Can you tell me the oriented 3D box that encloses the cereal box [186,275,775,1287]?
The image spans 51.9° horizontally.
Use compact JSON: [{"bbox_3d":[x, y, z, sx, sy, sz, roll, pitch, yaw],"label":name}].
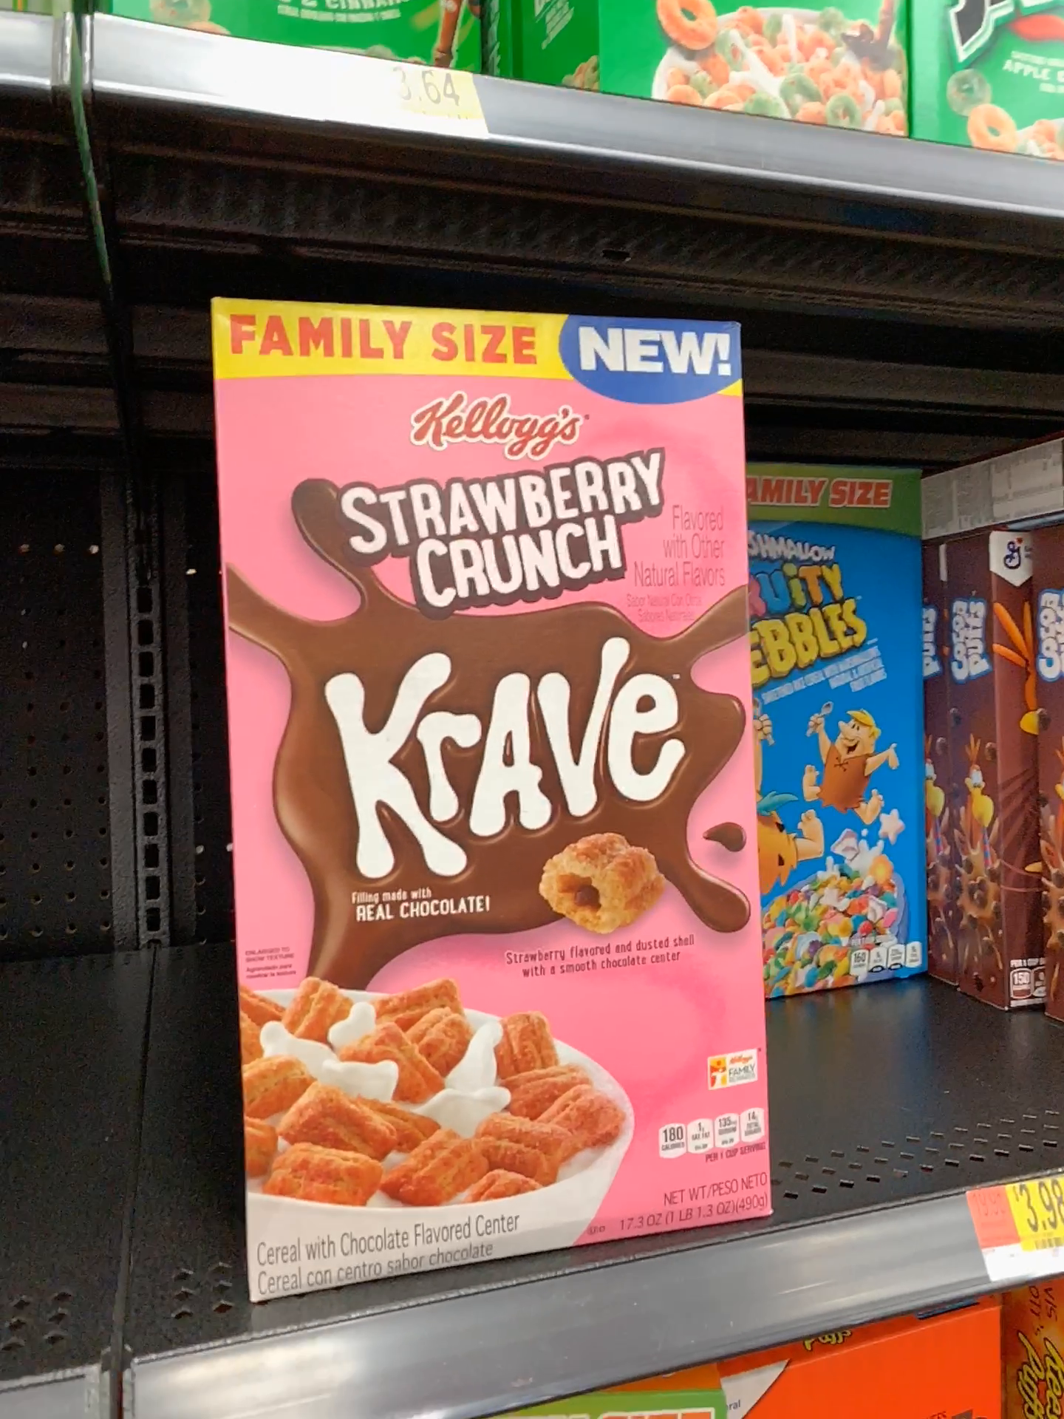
[{"bbox_3d":[-0.019,0.020,0.411,0.200,0.330,0.060,-2,-1,-14],"label":"cereal box"}]
